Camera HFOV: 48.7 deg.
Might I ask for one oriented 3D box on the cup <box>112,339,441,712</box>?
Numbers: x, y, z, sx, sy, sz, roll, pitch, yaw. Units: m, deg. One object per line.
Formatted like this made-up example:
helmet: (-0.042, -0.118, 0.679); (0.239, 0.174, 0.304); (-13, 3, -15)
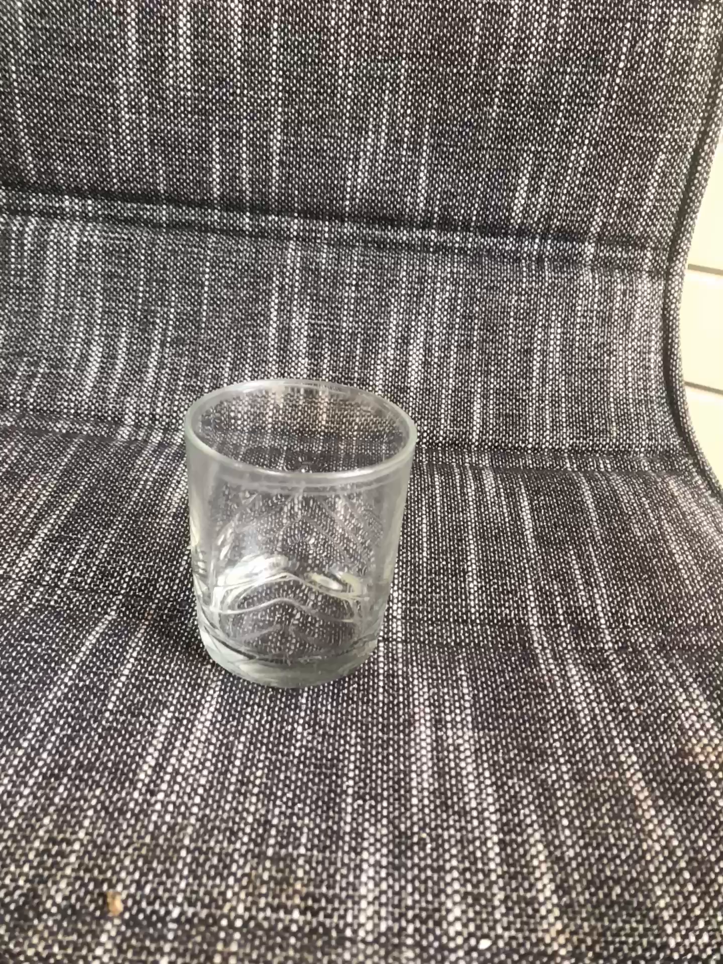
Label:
cup: (-0.026, 0.009, 0.260); (0.070, 0.080, 0.070); (3, 30, -2)
